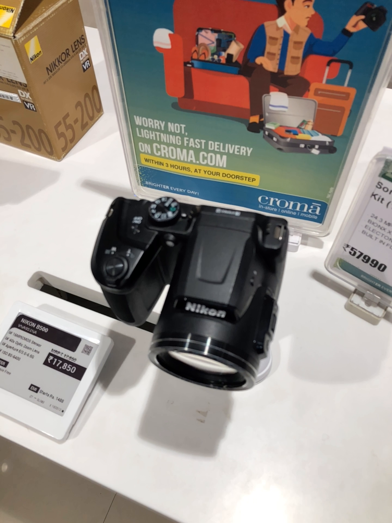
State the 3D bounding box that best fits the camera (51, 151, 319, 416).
[{"bbox_3d":[0.002,0.009,0.242,0.110,0.070,0.111,10,56,8],"label":"camera"}]
